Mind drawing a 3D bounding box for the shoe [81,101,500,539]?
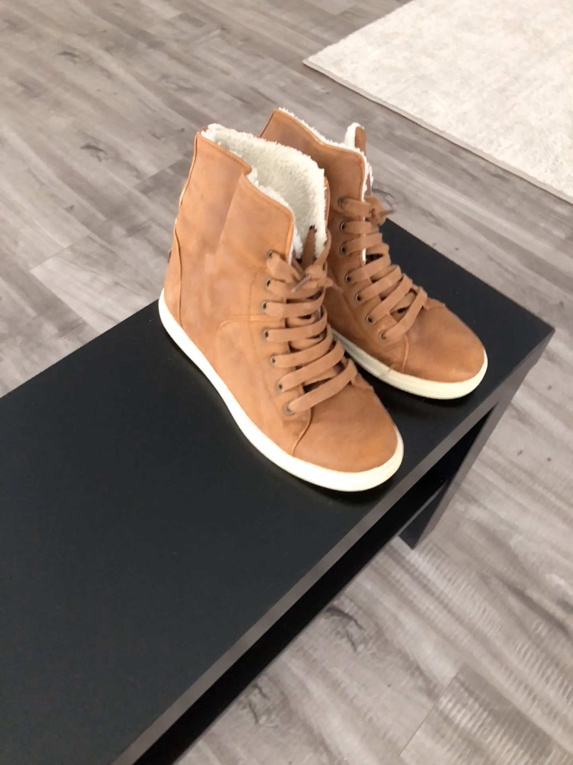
[{"bbox_3d":[-0.012,-0.049,0.440,0.110,0.150,0.261,-34,62,-23],"label":"shoe"}]

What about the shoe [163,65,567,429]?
[{"bbox_3d":[0.045,-0.109,0.487,0.261,0.140,0.110,35,60,21],"label":"shoe"}]
